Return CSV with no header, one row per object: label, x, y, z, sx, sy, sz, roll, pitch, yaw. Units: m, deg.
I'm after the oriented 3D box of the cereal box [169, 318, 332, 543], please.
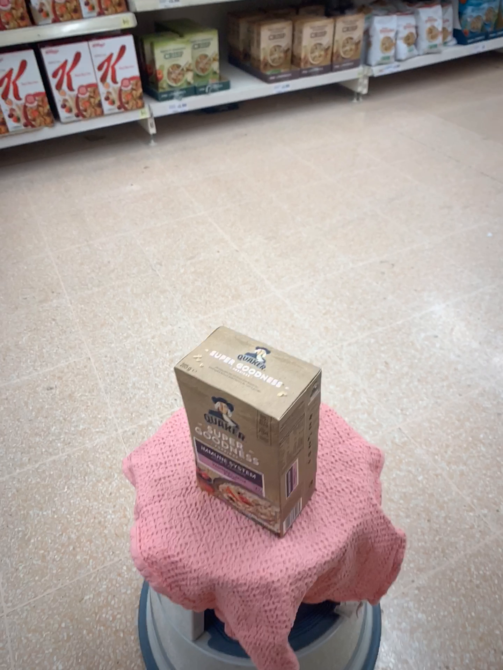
cereal box,0.003,0.107,0.569,0.130,0.208,0.091,22,48,27
